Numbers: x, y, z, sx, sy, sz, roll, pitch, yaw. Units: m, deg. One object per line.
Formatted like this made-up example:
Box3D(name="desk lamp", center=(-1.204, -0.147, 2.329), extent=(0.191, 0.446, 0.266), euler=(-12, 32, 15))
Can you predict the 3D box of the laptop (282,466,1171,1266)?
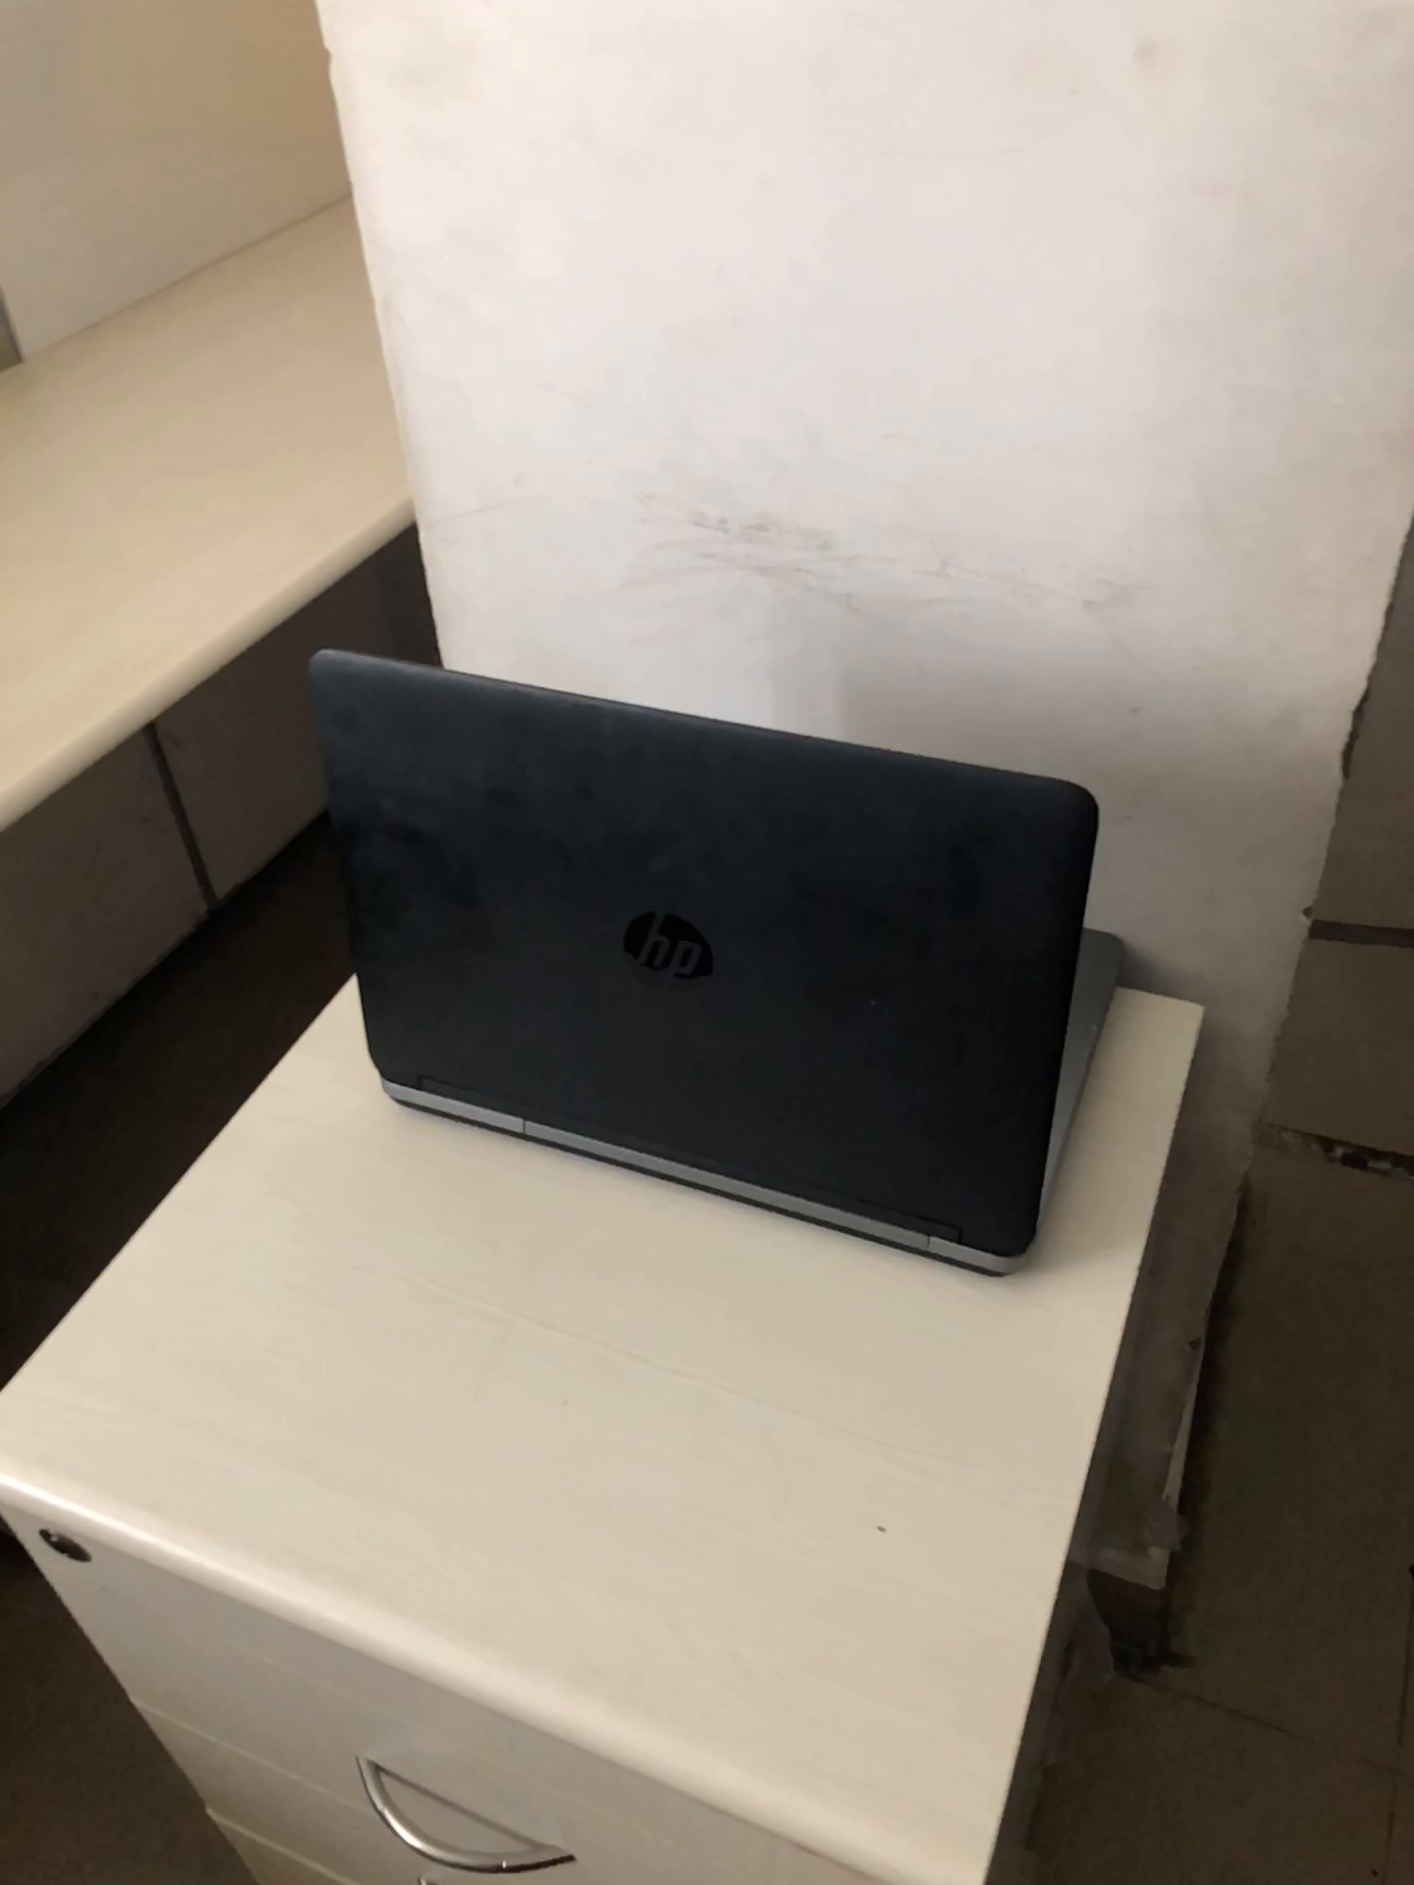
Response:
Box3D(name="laptop", center=(0.019, -0.047, 0.723), extent=(0.317, 0.226, 0.205), euler=(13, 46, 19))
